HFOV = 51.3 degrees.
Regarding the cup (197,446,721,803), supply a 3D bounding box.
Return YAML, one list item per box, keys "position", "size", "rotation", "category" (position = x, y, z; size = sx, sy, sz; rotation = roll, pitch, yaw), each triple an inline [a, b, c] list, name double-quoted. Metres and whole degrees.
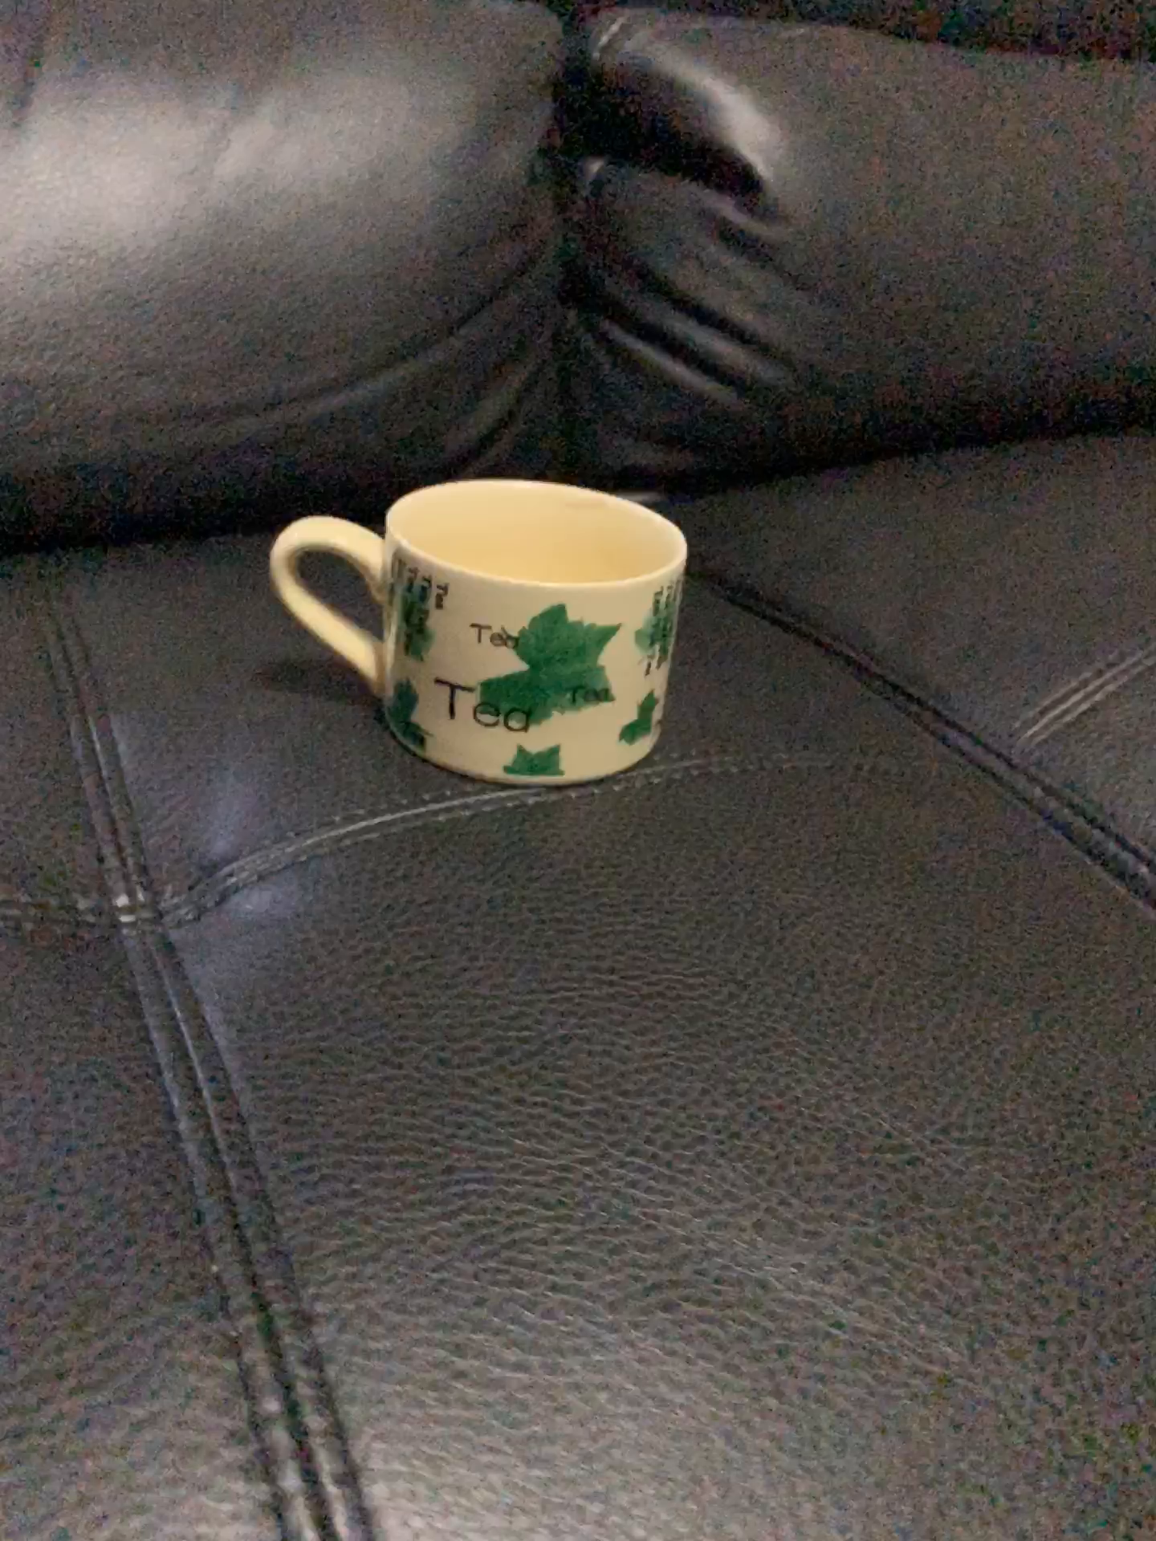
- position: [-0.030, -0.043, 0.326]
  size: [0.118, 0.060, 0.091]
  rotation: [2, 30, -5]
  category: "cup"
